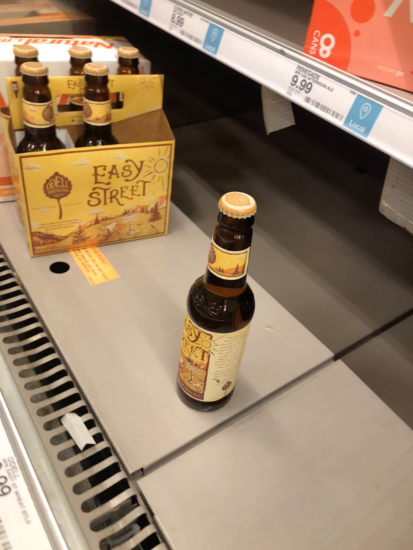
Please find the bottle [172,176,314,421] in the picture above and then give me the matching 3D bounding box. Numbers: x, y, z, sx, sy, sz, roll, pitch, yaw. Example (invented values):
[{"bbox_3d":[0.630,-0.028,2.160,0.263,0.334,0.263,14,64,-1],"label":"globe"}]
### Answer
[{"bbox_3d":[0.019,0.032,0.405,0.070,0.229,0.066,5,41,-4],"label":"bottle"}]
